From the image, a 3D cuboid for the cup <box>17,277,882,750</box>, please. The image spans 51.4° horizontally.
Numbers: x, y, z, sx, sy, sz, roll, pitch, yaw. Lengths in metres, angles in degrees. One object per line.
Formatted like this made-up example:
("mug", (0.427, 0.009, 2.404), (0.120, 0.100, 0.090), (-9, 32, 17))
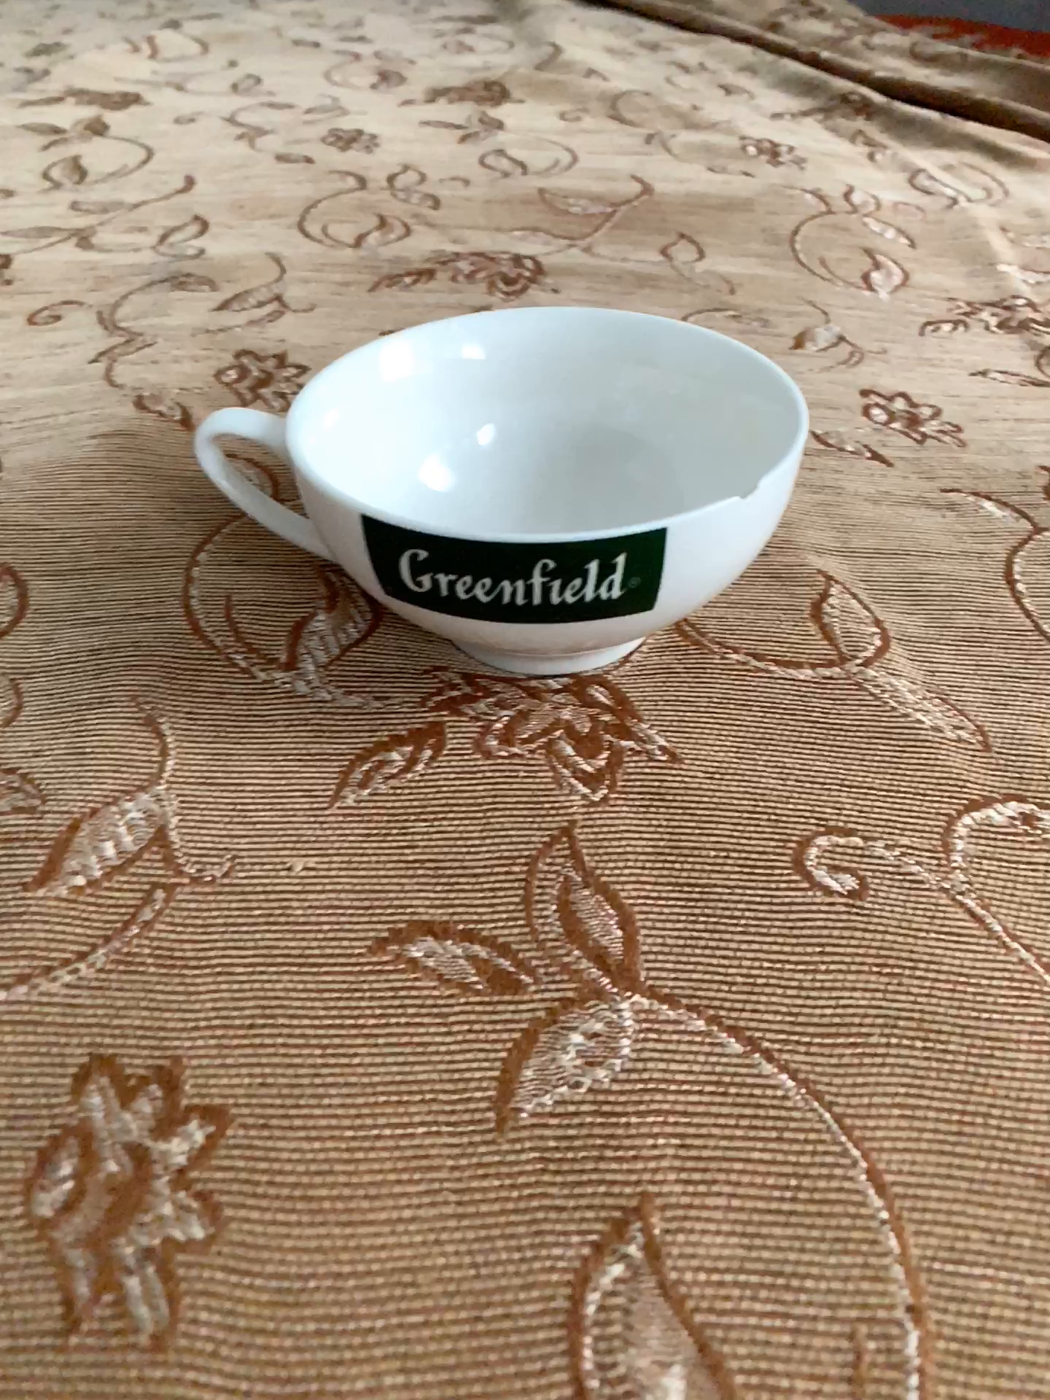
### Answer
("cup", (-0.009, -0.047, 0.230), (0.140, 0.040, 0.111), (4, 40, 4))
